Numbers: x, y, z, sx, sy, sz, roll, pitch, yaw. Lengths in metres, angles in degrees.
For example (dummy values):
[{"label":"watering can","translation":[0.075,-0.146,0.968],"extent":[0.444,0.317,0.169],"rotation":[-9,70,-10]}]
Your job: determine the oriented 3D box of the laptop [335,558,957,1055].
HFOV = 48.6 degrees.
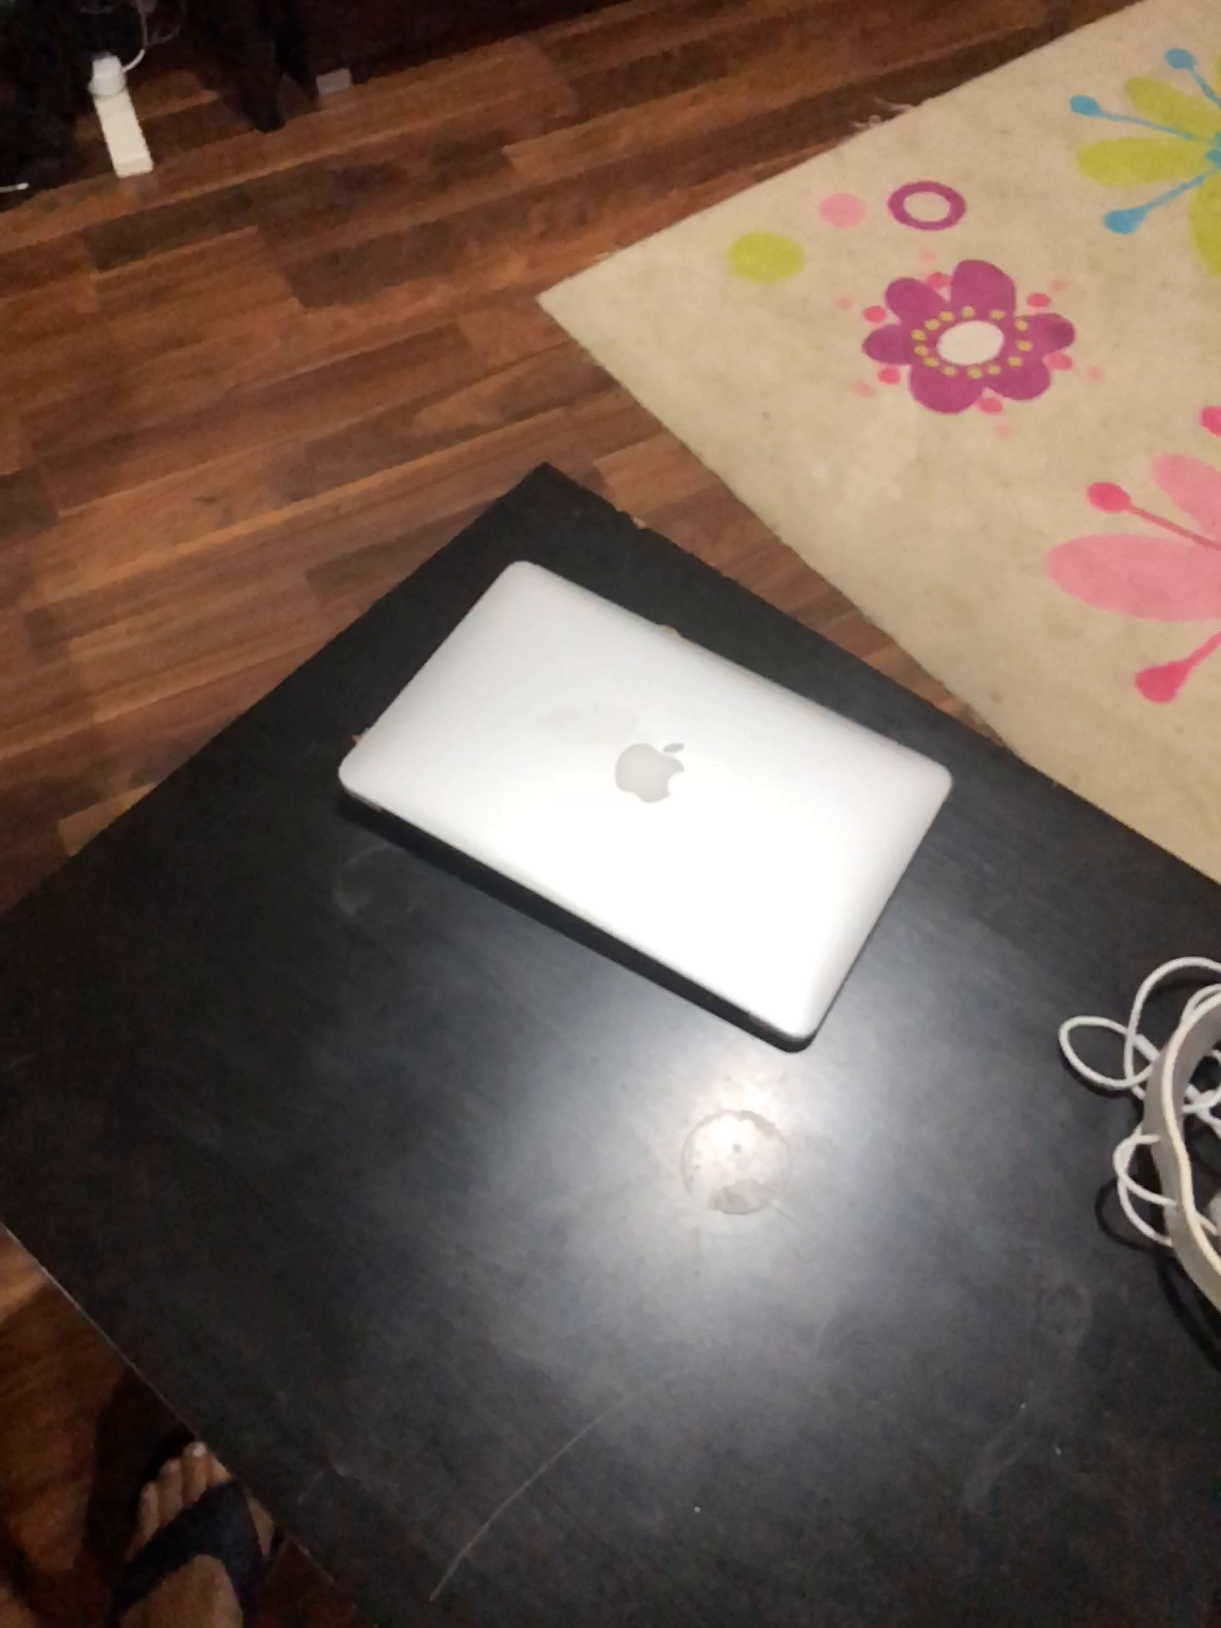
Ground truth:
[{"label":"laptop","translation":[0.021,-0.016,0.783],"extent":[0.300,0.011,0.190],"rotation":[28,67,12]}]
